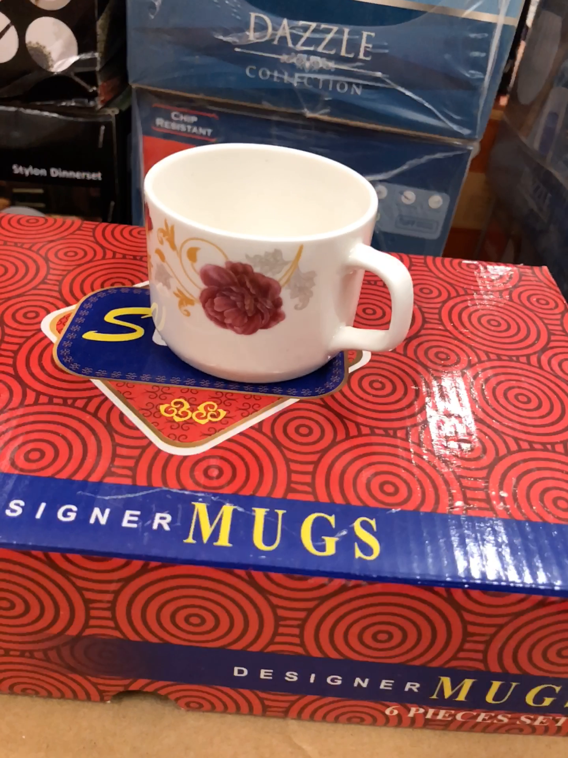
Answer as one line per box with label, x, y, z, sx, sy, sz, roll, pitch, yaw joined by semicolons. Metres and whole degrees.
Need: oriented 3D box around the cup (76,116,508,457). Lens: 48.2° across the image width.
cup;0.002;-0.038;0.201;0.100;0.050;0.081;28;41;24
